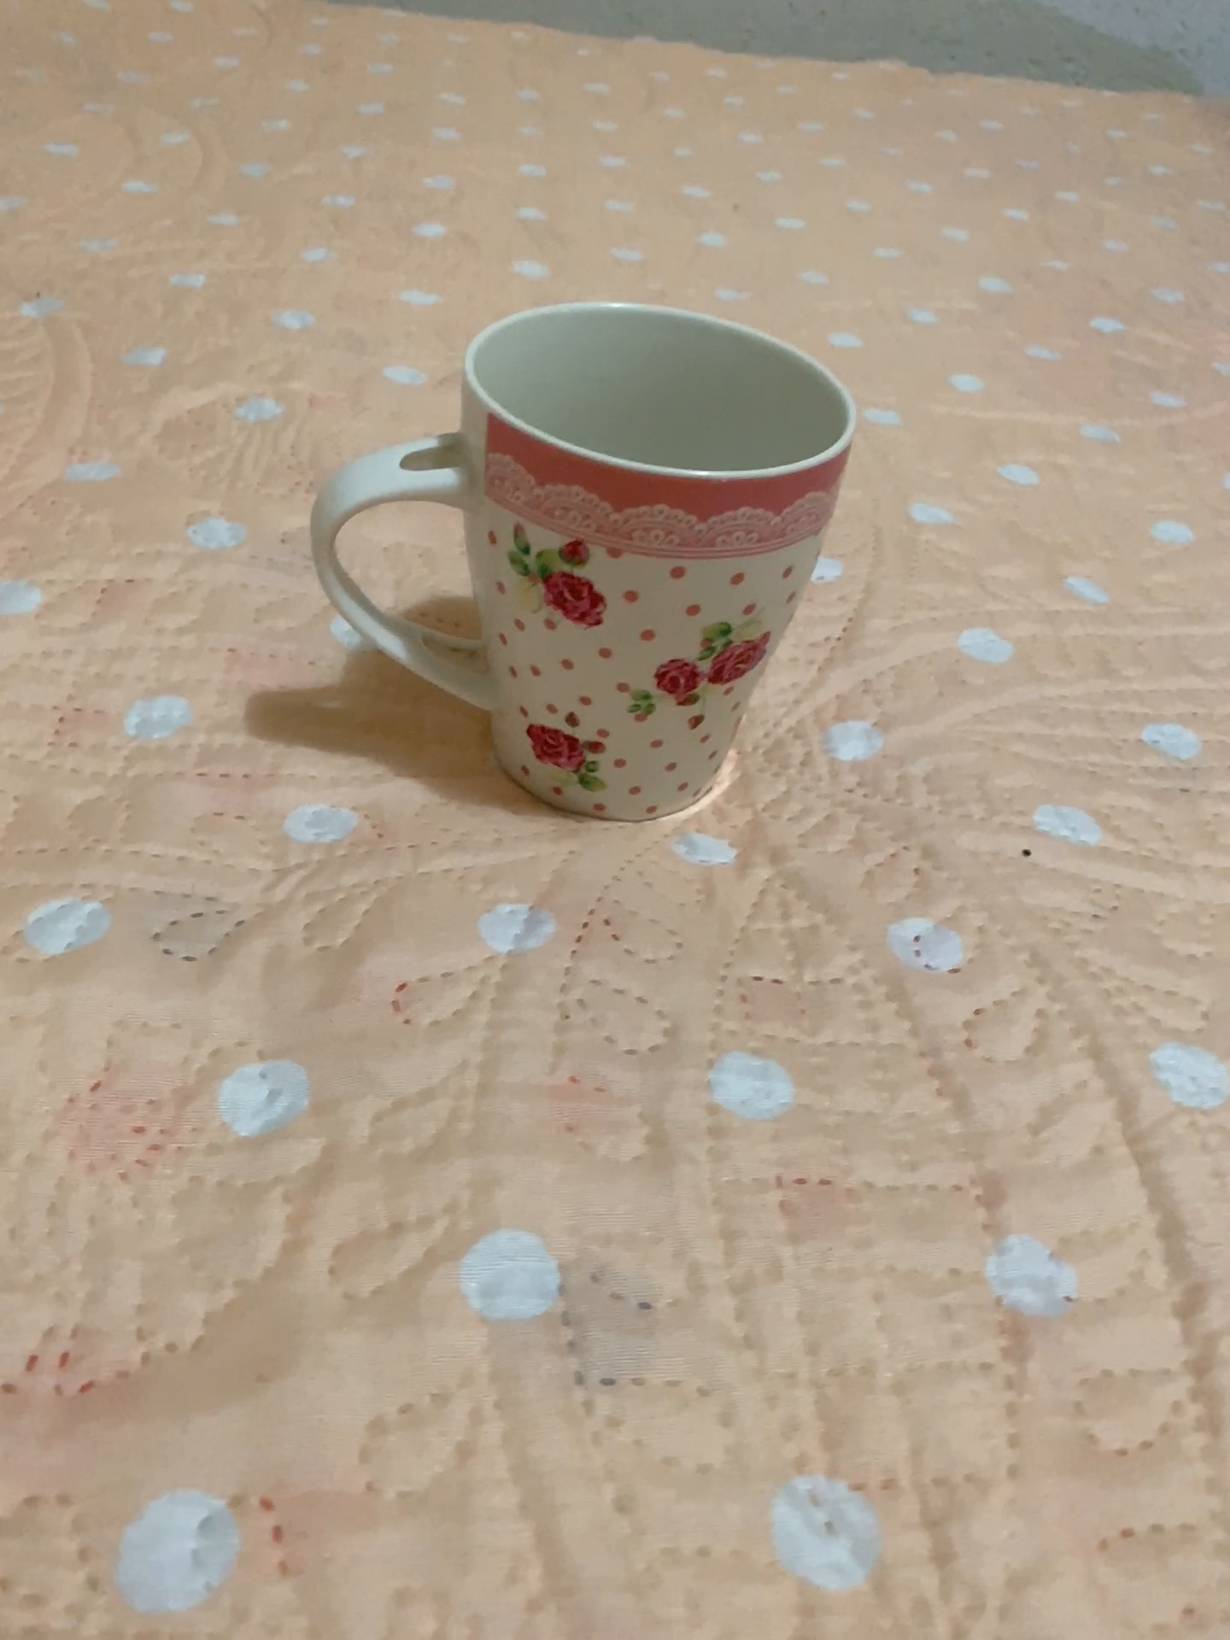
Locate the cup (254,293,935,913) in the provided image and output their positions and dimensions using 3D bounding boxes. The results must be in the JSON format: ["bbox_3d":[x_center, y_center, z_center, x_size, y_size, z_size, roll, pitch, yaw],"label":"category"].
[{"bbox_3d":[-0.014,-0.053,0.293,0.120,0.099,0.090,-6,43,-17],"label":"cup"}]
